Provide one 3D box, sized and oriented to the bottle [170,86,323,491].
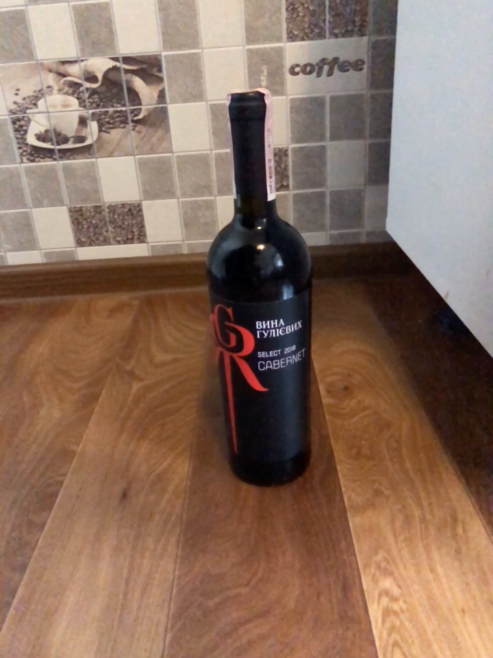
[{"bbox_3d":[0.011,-0.022,0.421,0.090,0.297,0.091,-3,25,1],"label":"bottle"}]
